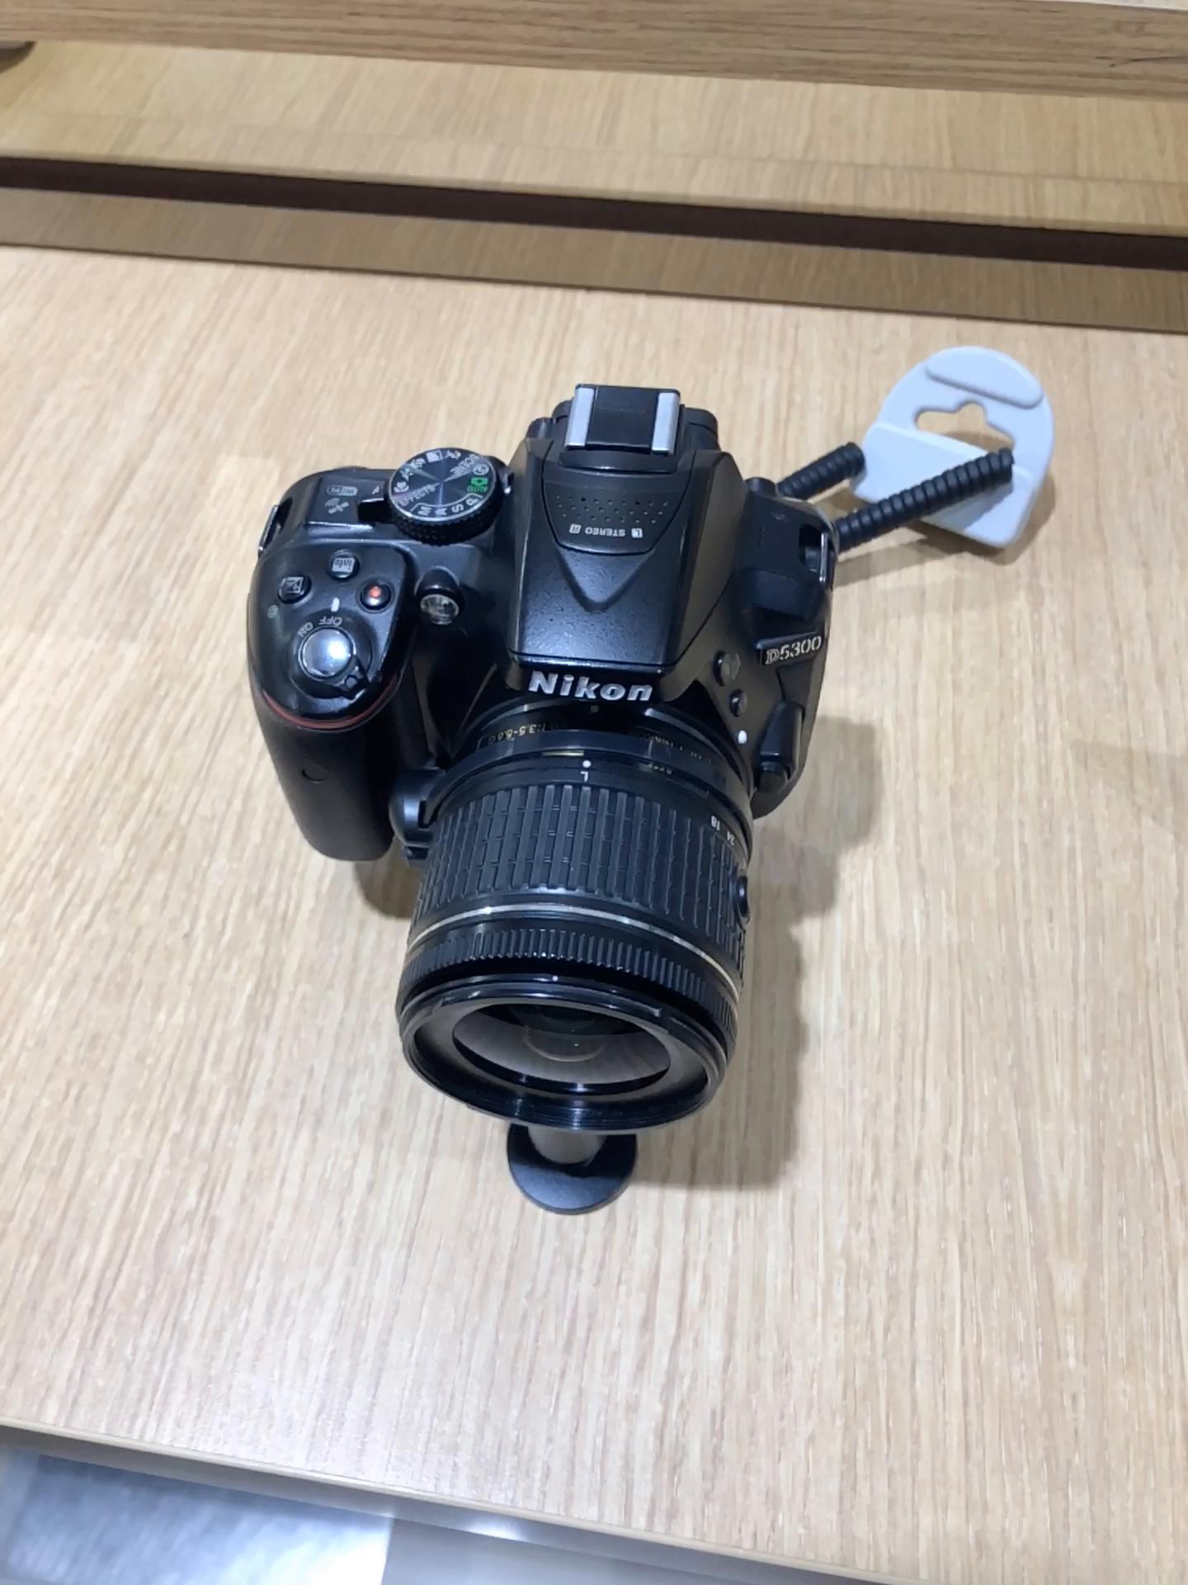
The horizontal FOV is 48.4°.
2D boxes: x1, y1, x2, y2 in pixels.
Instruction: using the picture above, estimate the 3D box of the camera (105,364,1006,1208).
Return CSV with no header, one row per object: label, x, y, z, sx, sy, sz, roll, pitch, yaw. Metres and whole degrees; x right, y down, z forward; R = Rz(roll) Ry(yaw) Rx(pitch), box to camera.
camera,0.001,0.000,0.248,0.120,0.102,0.111,4,54,5
